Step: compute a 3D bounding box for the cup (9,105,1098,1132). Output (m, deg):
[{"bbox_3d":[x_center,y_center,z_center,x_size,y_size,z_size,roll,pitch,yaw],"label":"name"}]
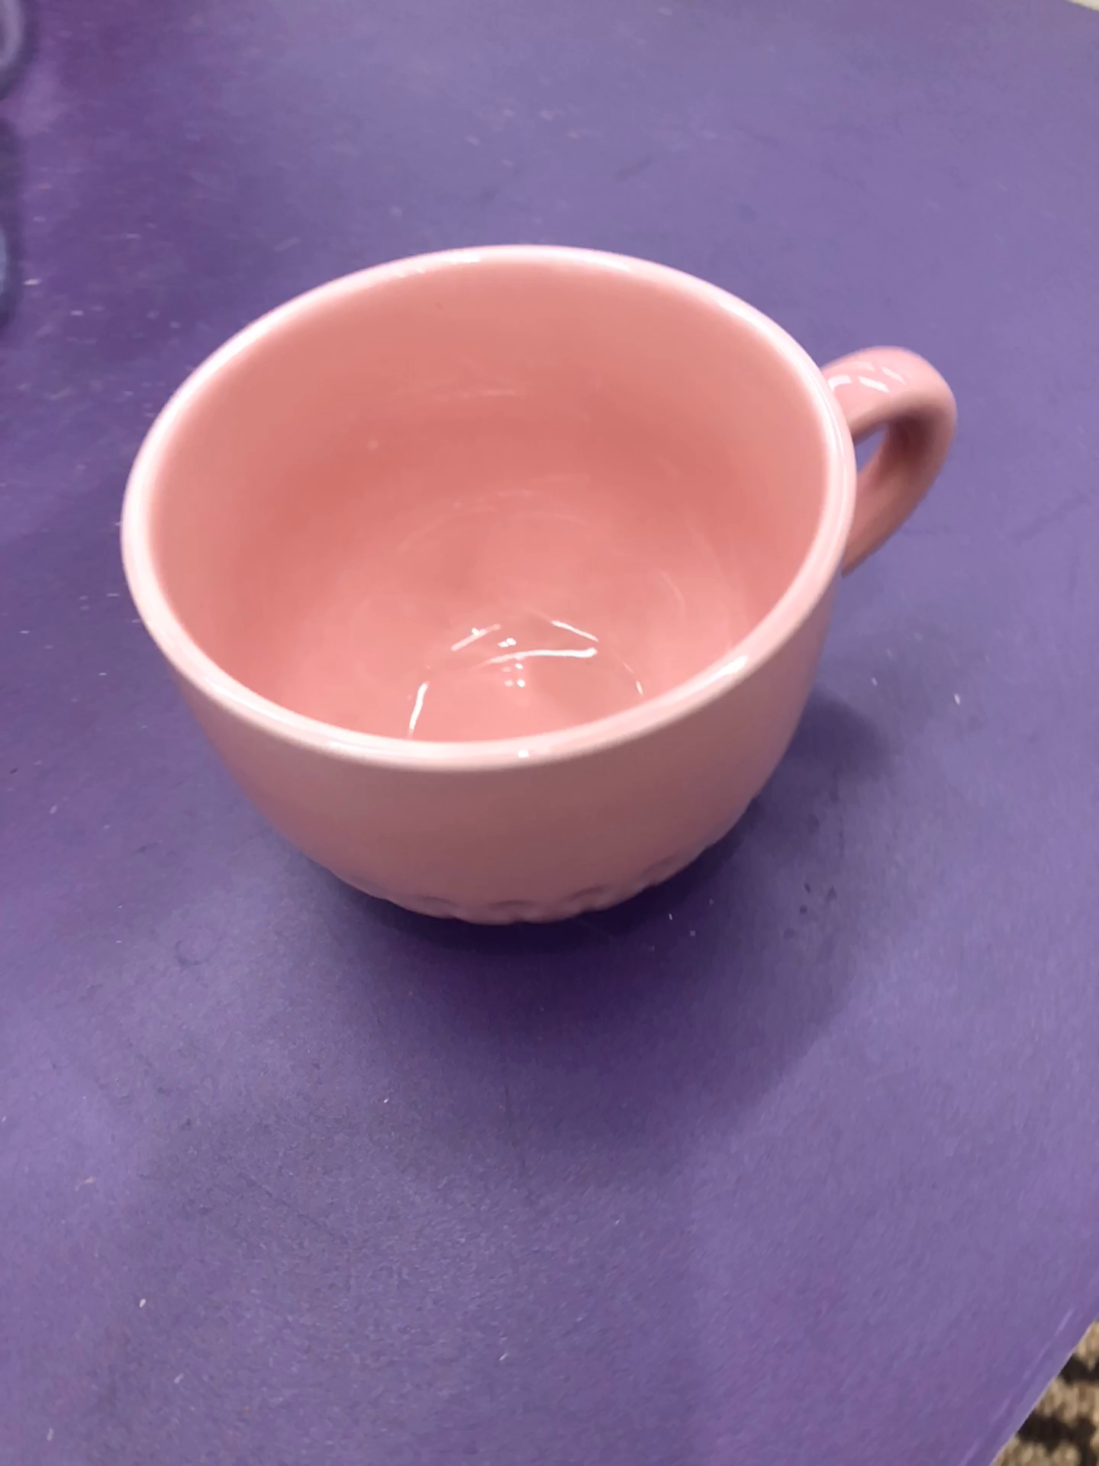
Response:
[{"bbox_3d":[0.006,-0.027,0.198,0.140,0.060,0.111,-25,56,-12],"label":"cup"}]
